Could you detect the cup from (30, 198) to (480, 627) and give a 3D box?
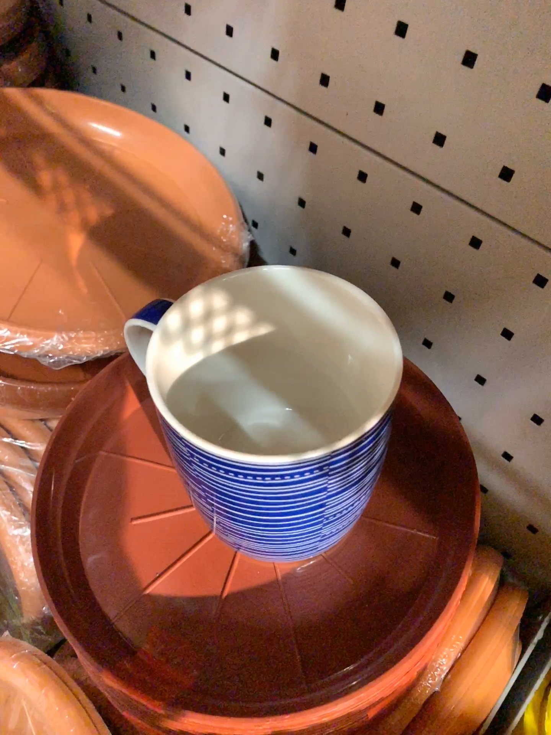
[{"bbox_3d":[-0.005,0.015,0.245,0.130,0.100,0.100,25,52,19],"label":"cup"}]
